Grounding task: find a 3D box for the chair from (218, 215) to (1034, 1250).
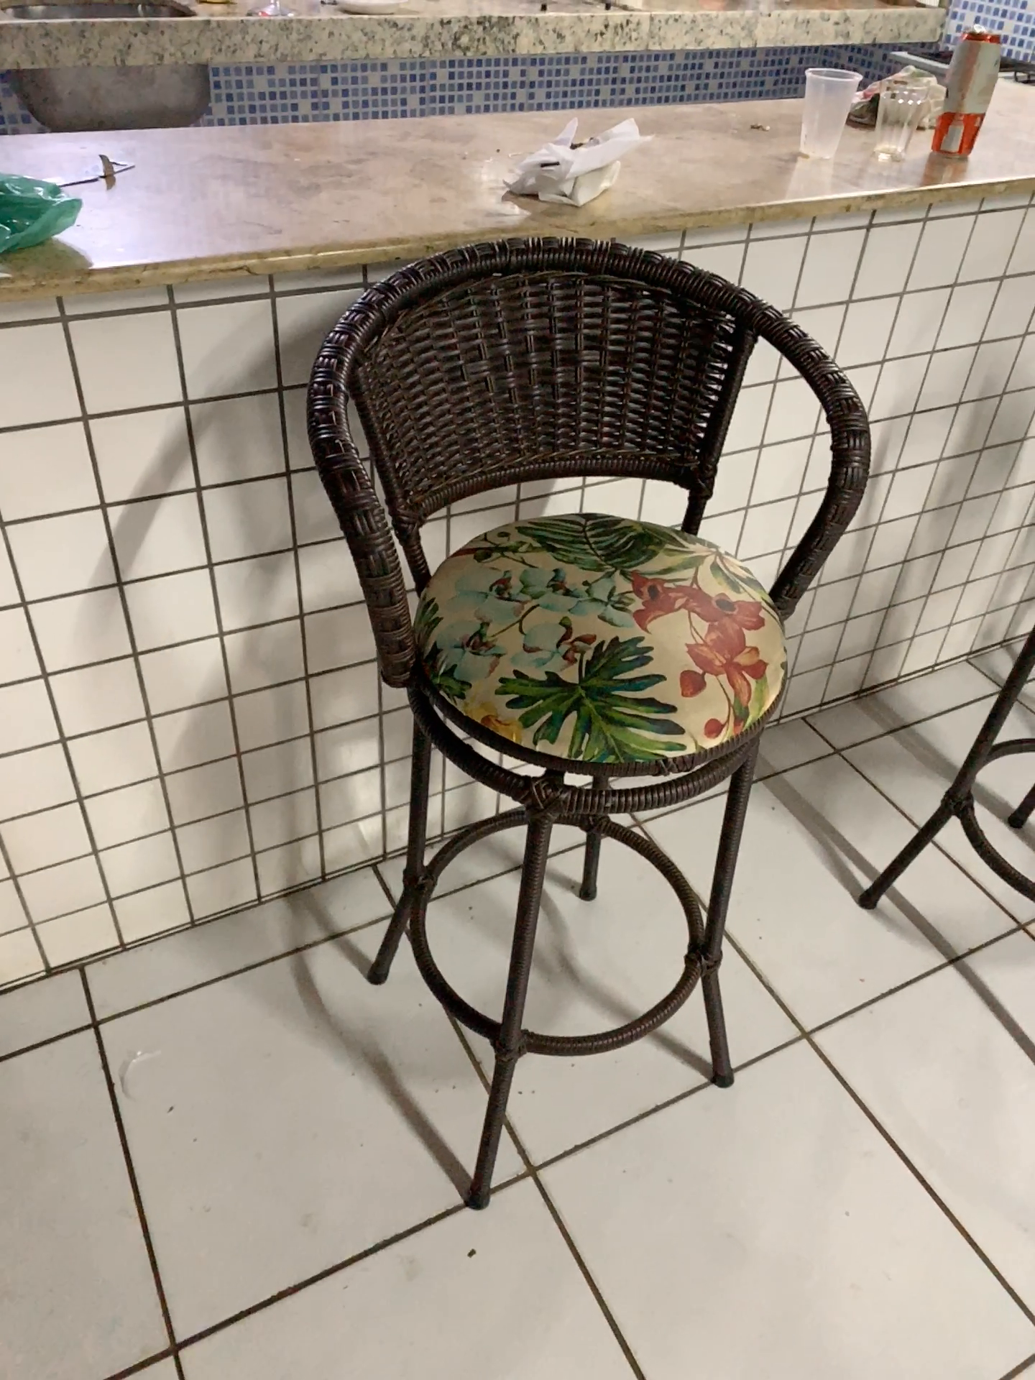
[{"bbox_3d":[0.037,0.063,1.217,0.501,0.974,0.532,-16,43,-24],"label":"chair"}]
